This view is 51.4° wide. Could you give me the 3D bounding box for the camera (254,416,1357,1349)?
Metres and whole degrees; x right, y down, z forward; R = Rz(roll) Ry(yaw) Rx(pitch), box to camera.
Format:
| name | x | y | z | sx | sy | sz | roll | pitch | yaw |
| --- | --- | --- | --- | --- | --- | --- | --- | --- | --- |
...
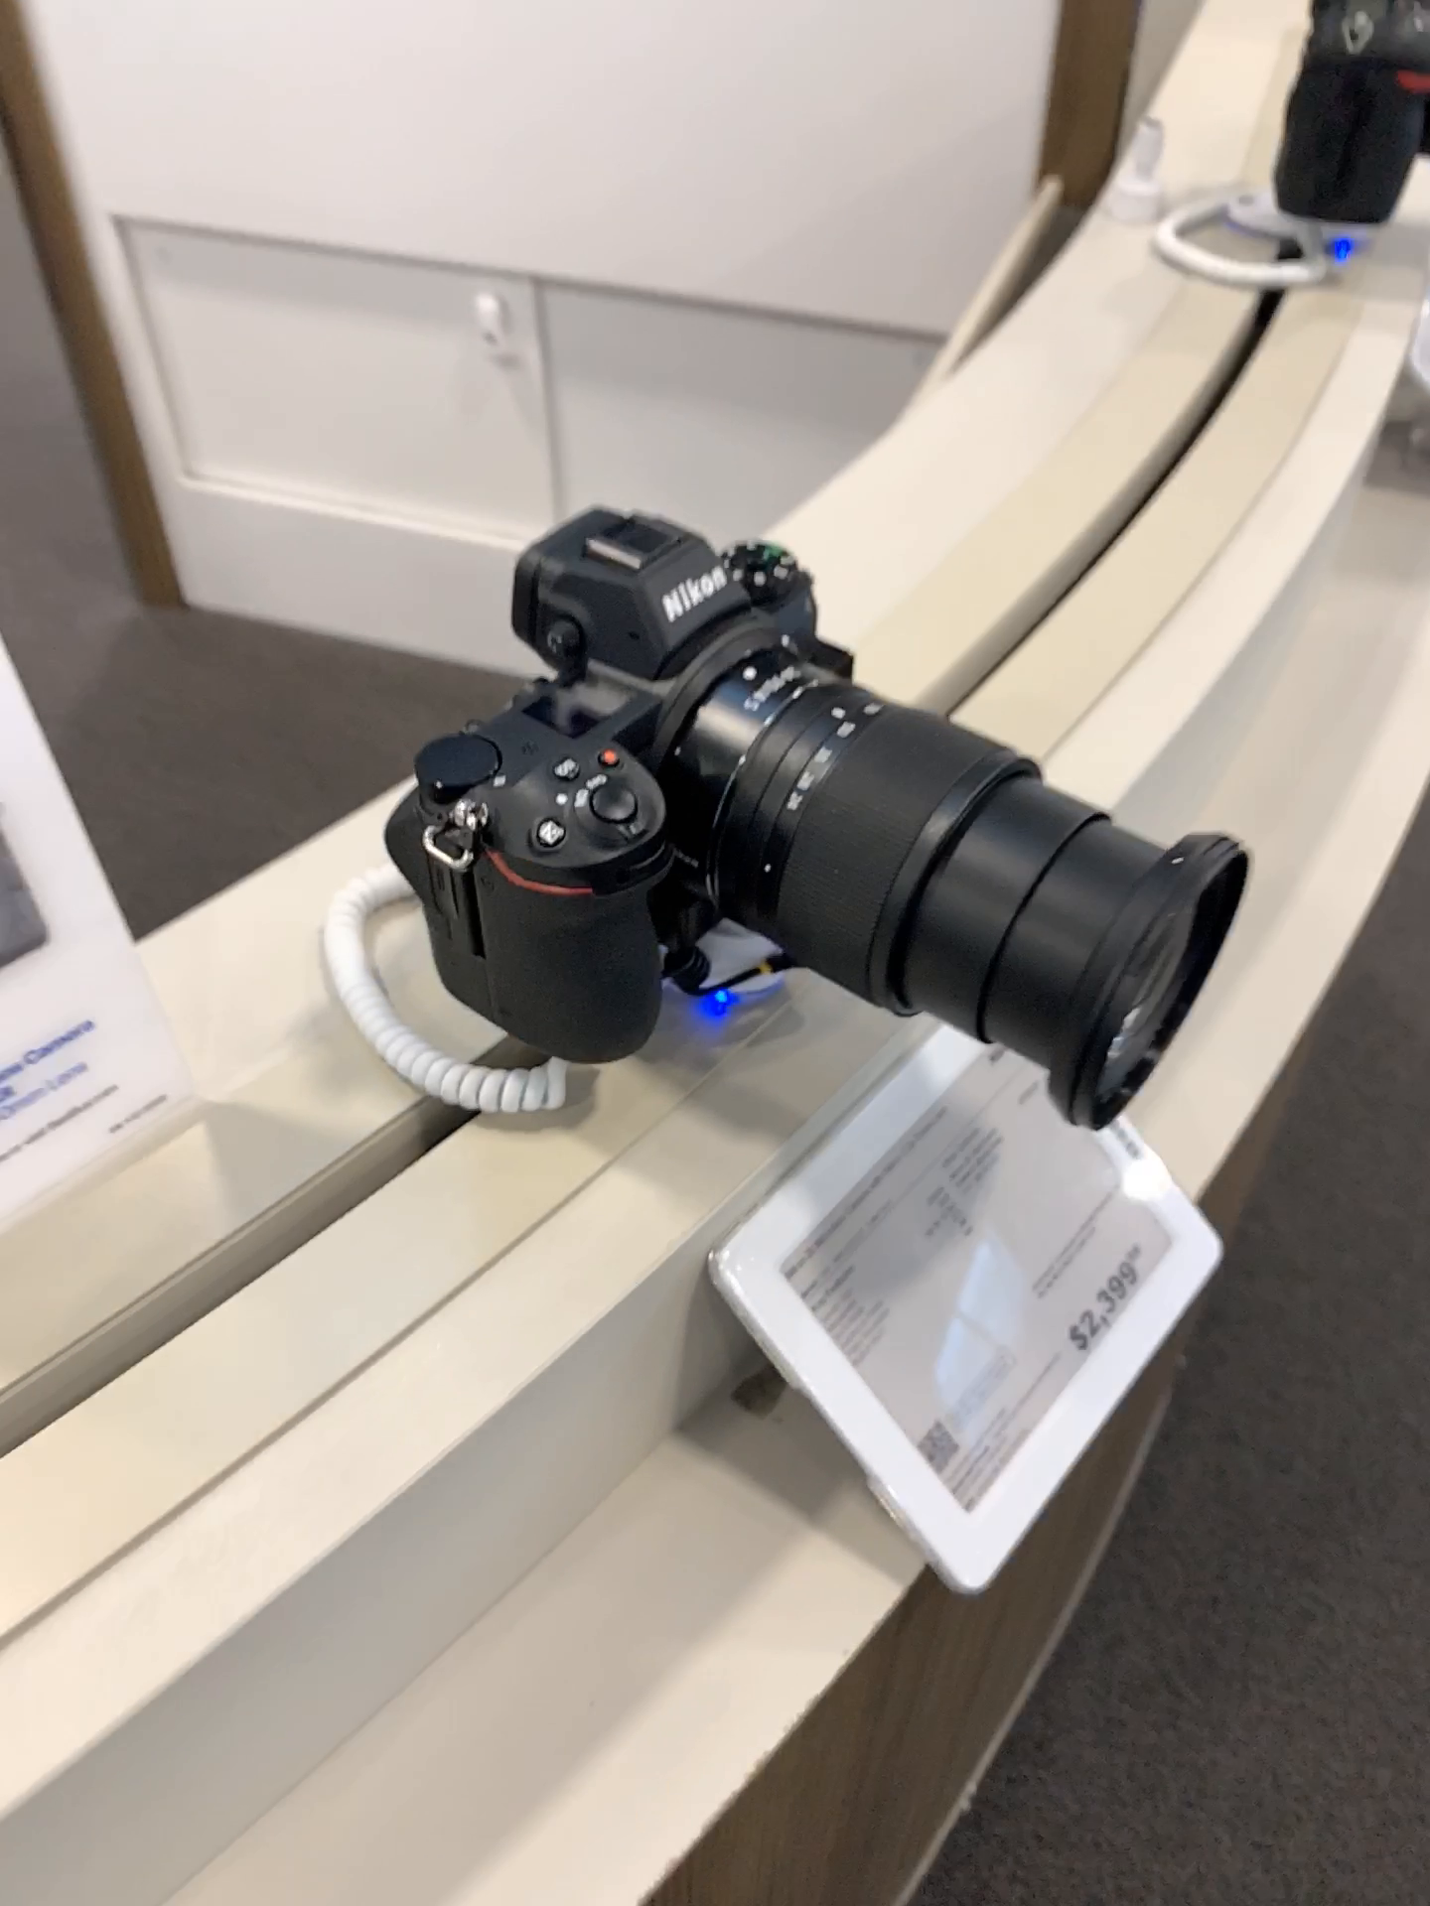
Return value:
| name | x | y | z | sx | sy | sz | roll | pitch | yaw |
| --- | --- | --- | --- | --- | --- | --- | --- | --- | --- |
| camera | 0.018 | -0.034 | 0.375 | 0.210 | 0.100 | 0.140 | 29 | 52 | 26 |
